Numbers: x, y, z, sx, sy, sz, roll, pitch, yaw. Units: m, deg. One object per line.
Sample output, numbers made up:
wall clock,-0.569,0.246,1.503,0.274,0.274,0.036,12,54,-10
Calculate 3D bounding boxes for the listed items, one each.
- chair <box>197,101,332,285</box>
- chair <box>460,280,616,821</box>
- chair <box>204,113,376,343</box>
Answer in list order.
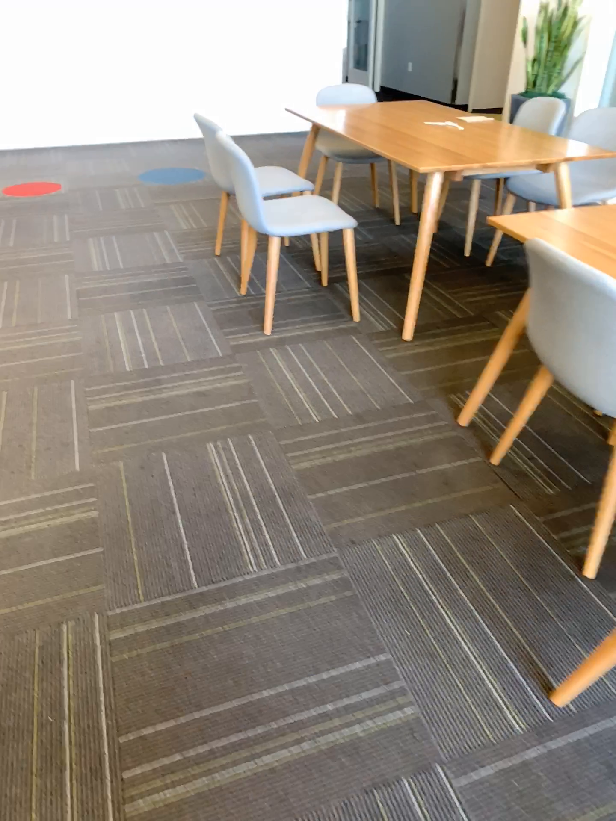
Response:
chair,-0.233,-1.169,3.359,0.530,0.775,0.574,-11,34,-17
chair,0.687,0.332,0.971,0.630,0.815,0.765,-1,33,-1
chair,-0.097,-0.819,2.779,0.570,0.795,0.594,-9,34,-13
